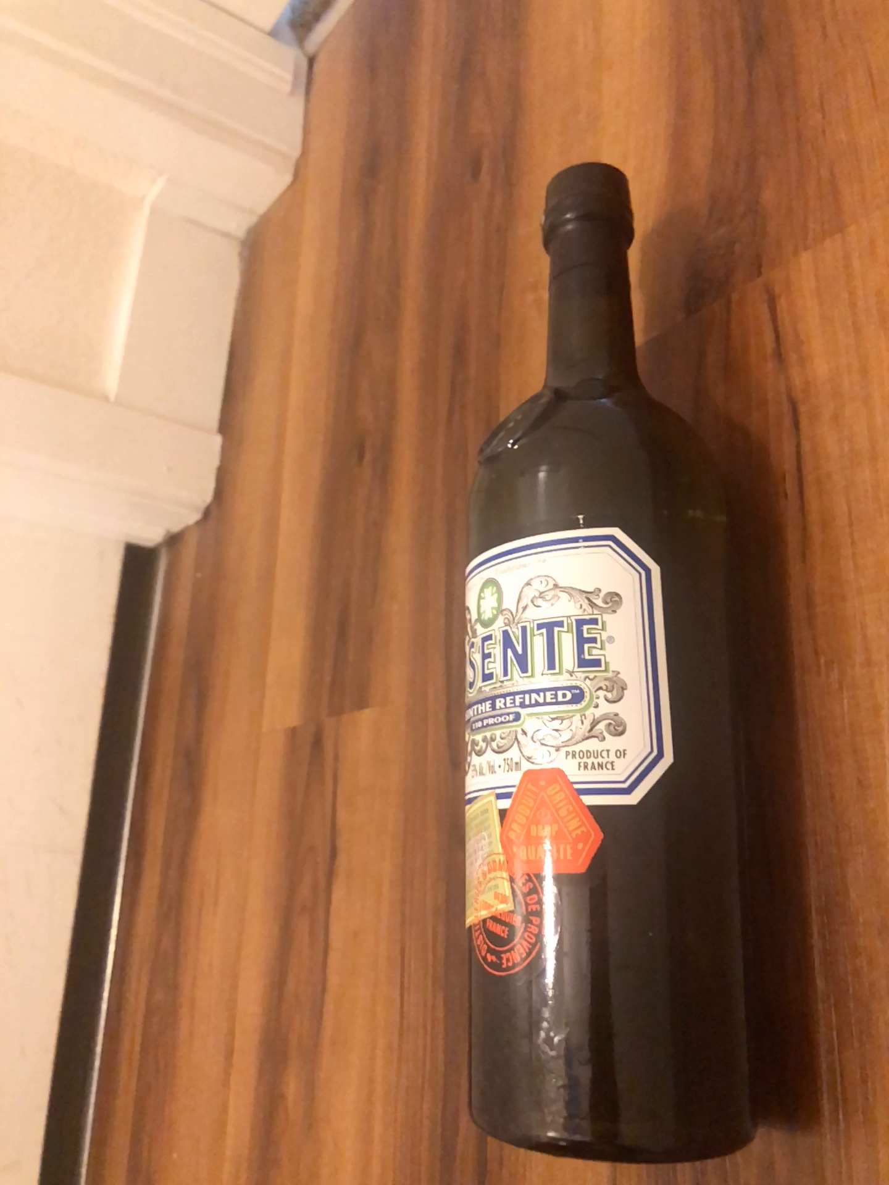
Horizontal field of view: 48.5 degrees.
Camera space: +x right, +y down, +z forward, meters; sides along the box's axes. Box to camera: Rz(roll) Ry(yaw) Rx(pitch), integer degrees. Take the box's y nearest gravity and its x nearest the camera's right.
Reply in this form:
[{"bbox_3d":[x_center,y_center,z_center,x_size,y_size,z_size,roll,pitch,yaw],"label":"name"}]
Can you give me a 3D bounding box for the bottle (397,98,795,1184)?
[{"bbox_3d":[0.044,0.008,0.309,0.080,0.070,0.300,-21,62,53],"label":"bottle"}]
